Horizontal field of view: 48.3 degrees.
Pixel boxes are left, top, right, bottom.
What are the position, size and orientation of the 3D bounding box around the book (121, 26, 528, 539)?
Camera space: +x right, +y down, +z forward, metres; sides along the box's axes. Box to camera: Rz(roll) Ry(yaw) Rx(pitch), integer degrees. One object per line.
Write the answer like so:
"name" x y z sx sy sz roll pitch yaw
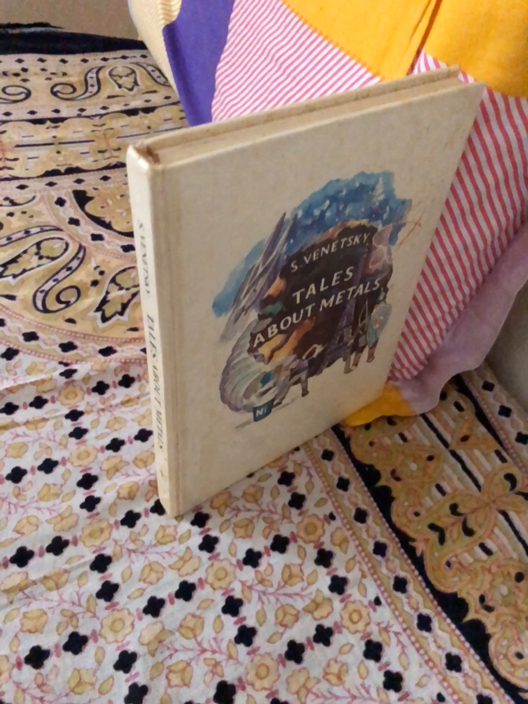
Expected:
"book" 0.025 -0.027 0.315 0.190 0.249 0.050 -21 52 -30
